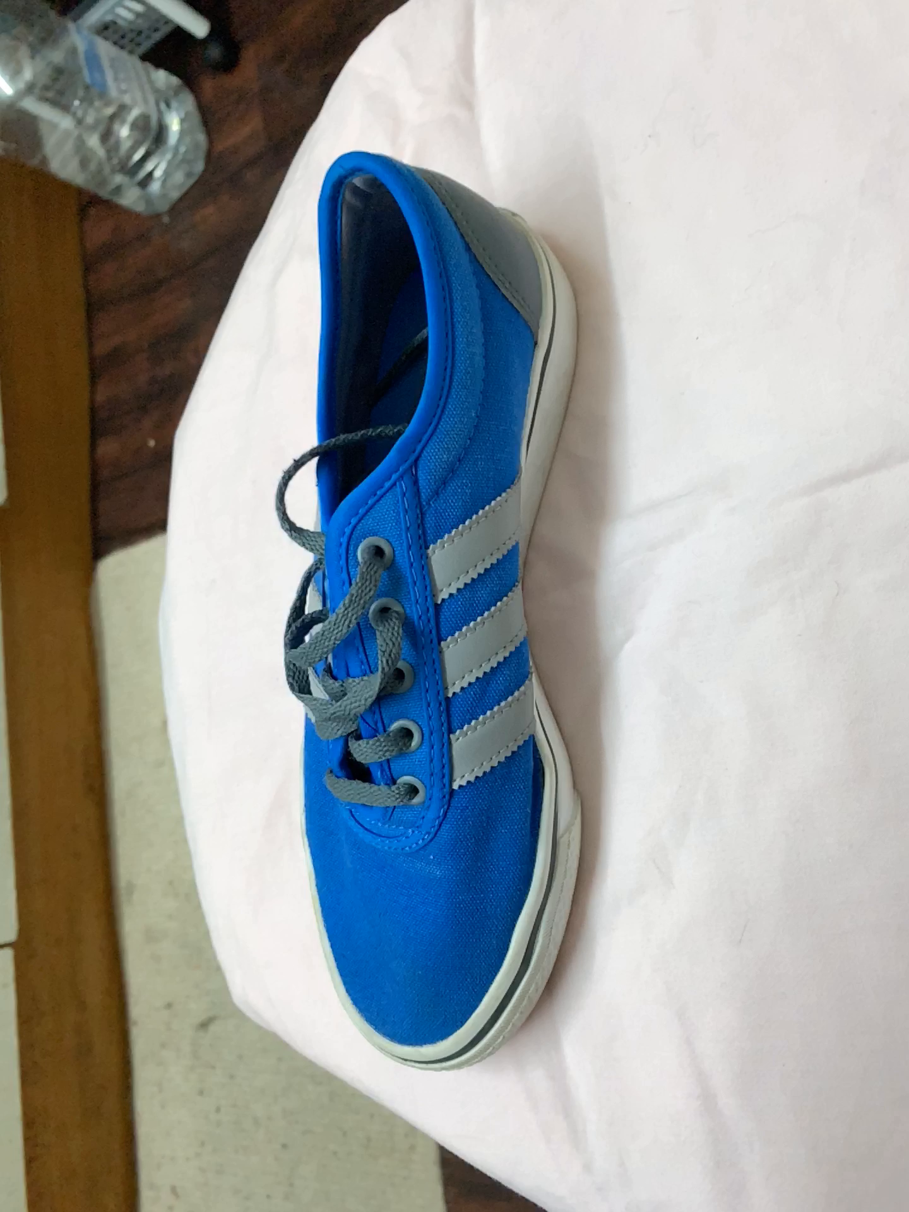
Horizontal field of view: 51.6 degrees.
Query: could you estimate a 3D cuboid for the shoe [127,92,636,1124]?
[{"bbox_3d":[-0.019,-0.001,0.278,0.101,0.089,0.234,2,88,36],"label":"shoe"}]
